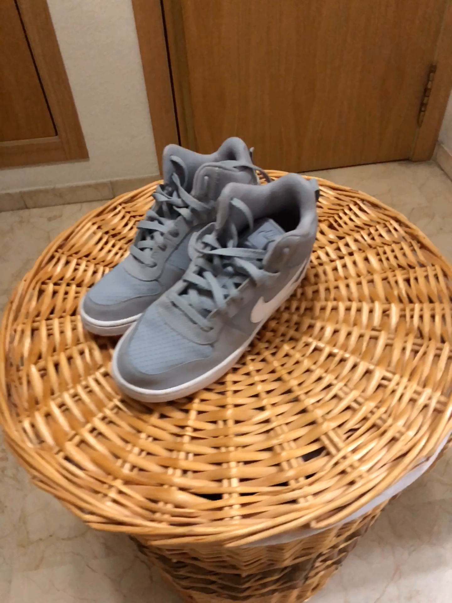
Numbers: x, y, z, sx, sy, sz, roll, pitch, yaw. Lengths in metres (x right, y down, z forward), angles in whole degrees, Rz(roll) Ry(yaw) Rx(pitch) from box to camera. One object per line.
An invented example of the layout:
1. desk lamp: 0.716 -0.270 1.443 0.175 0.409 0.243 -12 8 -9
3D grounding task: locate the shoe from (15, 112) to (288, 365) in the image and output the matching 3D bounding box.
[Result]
1. shoe: -0.061 -0.073 0.526 0.251 0.120 0.105 -38 55 -21

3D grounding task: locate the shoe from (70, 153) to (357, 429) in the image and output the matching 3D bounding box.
1. shoe: -0.004 -0.018 0.473 0.099 0.117 0.248 41 60 21
